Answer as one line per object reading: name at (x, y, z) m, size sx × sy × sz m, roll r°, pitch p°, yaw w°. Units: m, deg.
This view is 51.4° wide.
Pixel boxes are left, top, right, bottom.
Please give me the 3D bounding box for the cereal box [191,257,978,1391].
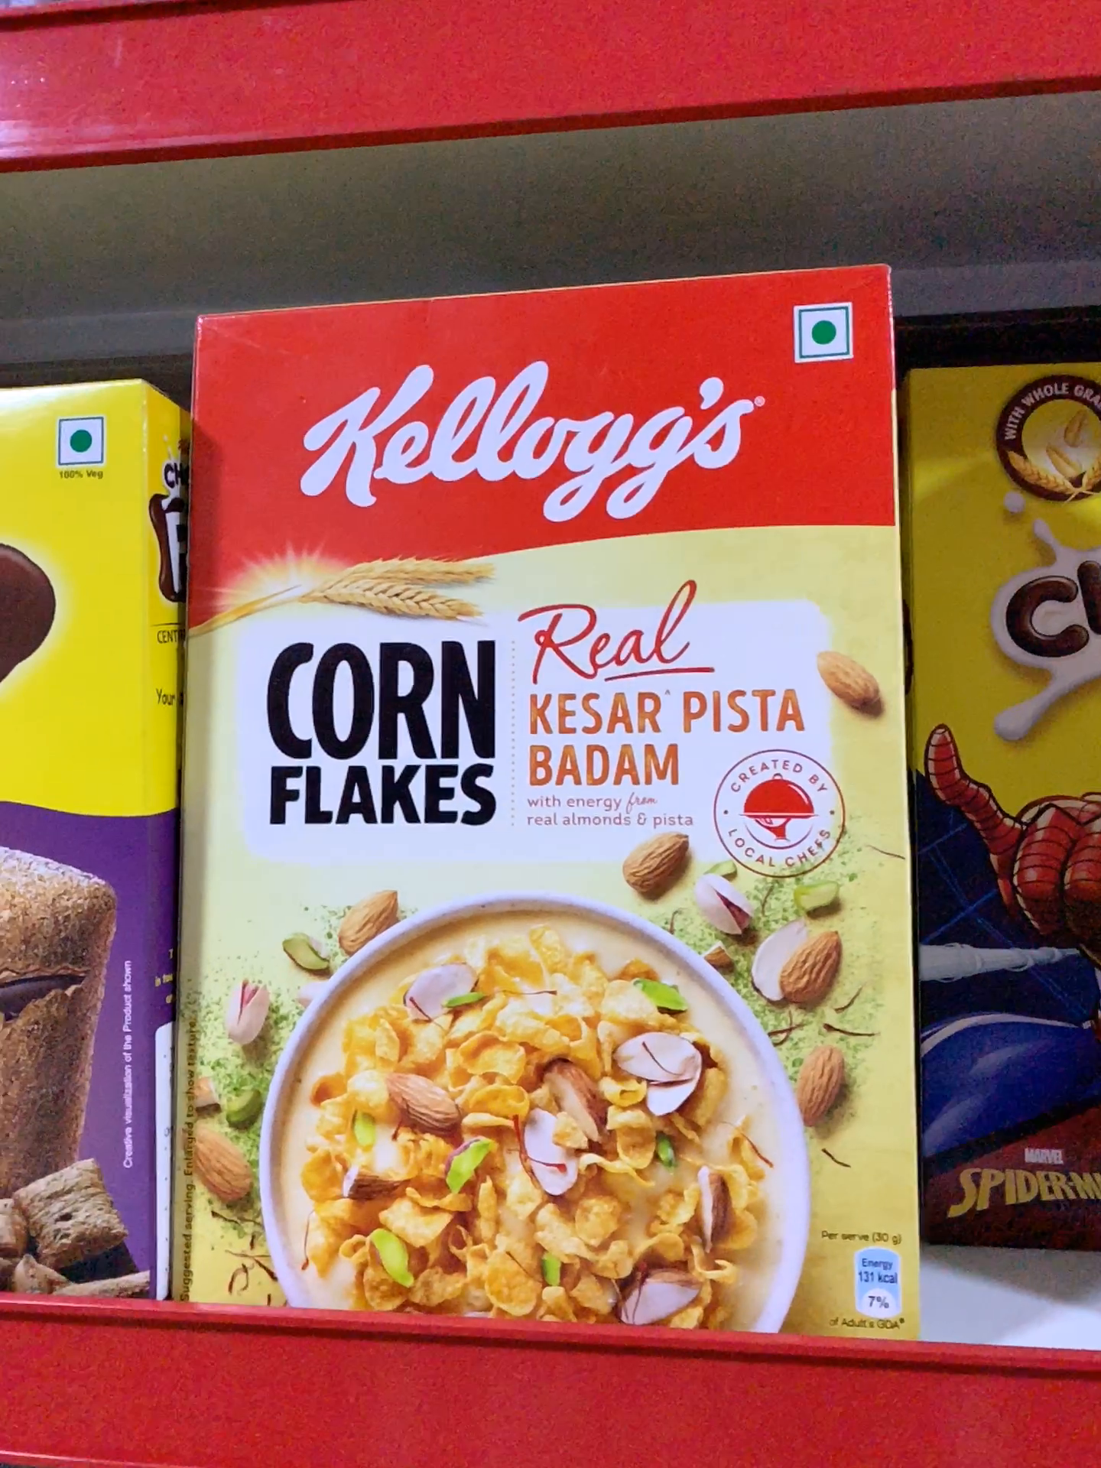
cereal box at (0.007, 0.019, 0.301) m, size 0.180 × 0.250 × 0.070 m, roll -1°, pitch -3°, yaw 9°
